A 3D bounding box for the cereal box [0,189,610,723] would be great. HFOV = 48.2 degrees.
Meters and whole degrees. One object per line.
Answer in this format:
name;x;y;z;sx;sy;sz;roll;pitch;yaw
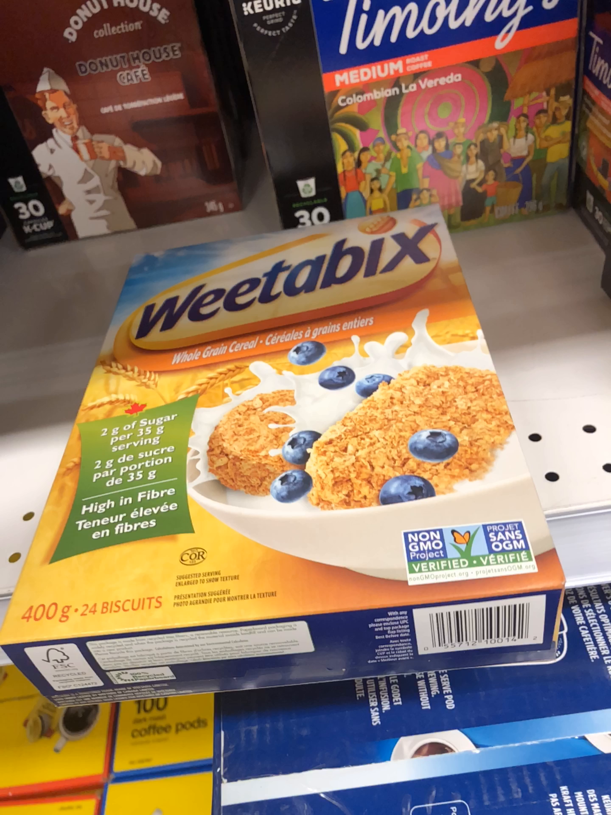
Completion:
cereal box;-0.011;-0.009;0.338;0.210;0.050;0.291;-8;39;6
